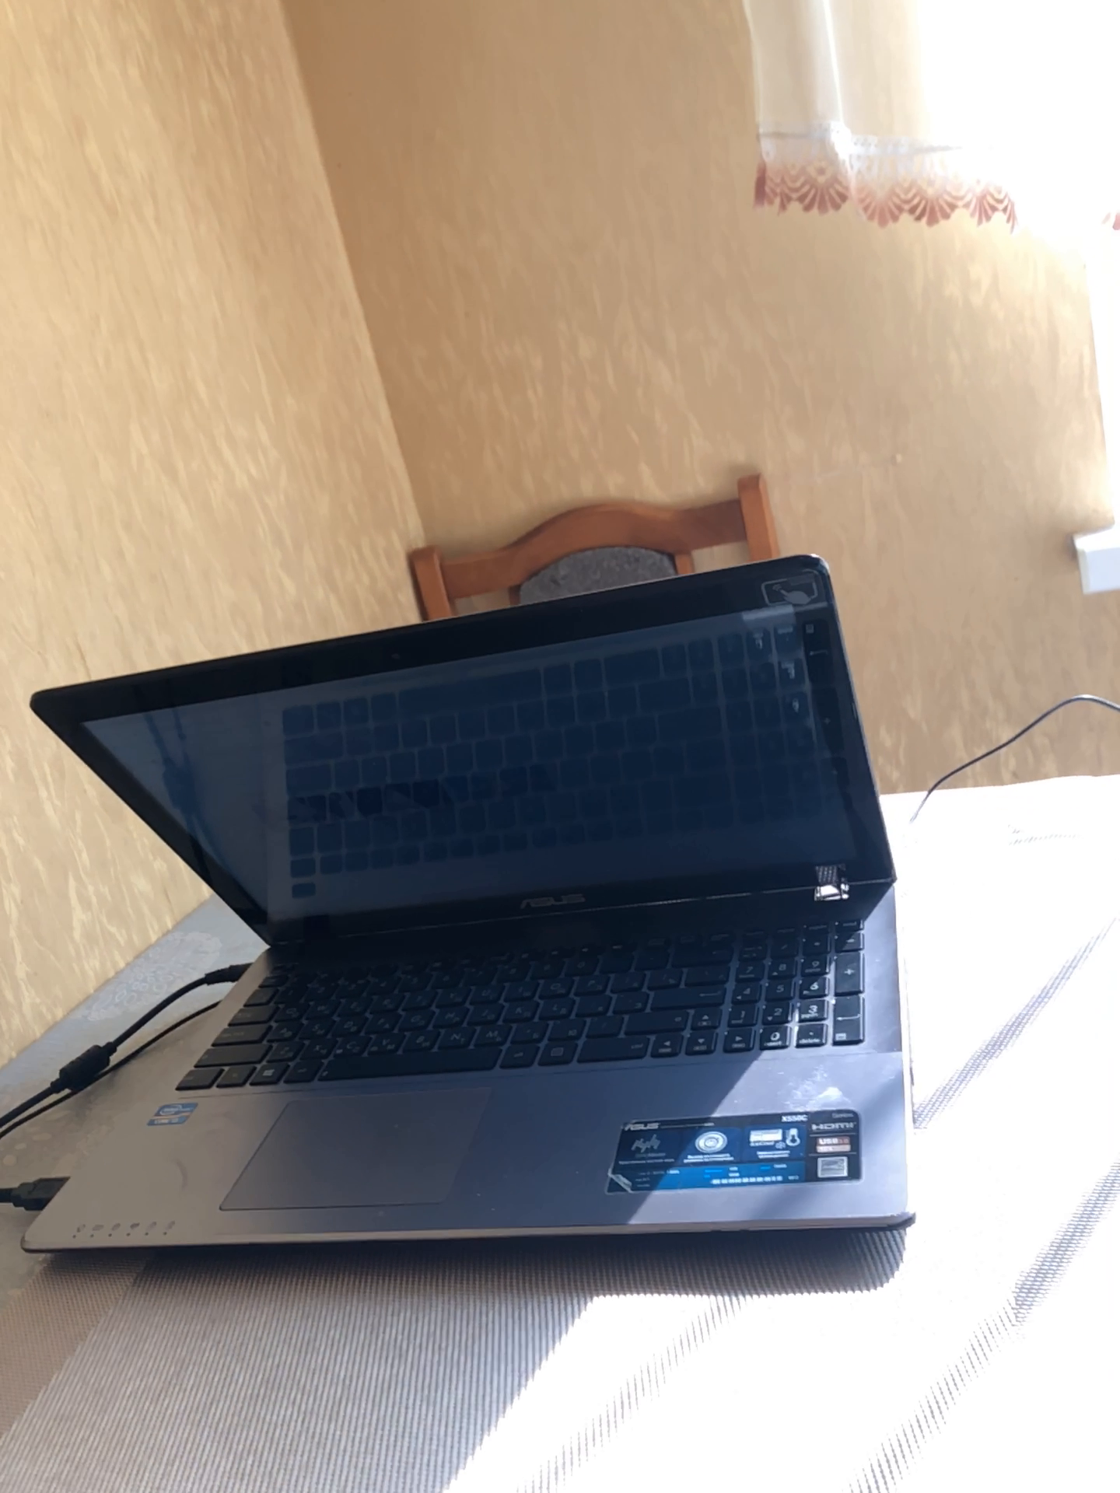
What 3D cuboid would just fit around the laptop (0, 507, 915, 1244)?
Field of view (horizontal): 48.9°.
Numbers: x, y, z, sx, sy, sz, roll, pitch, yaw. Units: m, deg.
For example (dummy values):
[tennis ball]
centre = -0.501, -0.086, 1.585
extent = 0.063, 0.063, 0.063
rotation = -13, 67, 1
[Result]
[laptop]
centre = -0.051, 0.049, 0.553
extent = 0.369, 0.196, 0.243
rotation = -9, 18, 17
